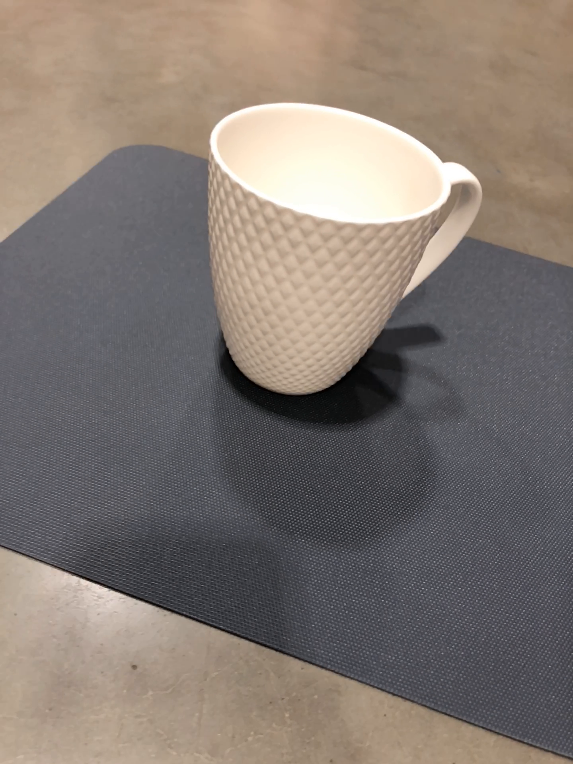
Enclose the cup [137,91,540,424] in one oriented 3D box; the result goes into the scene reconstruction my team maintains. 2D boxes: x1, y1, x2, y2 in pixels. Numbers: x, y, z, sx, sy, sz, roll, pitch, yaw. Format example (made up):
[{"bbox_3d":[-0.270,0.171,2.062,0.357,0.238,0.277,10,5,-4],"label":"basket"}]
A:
[{"bbox_3d":[0.013,-0.059,0.277,0.130,0.090,0.090,-14,50,-24],"label":"cup"}]
